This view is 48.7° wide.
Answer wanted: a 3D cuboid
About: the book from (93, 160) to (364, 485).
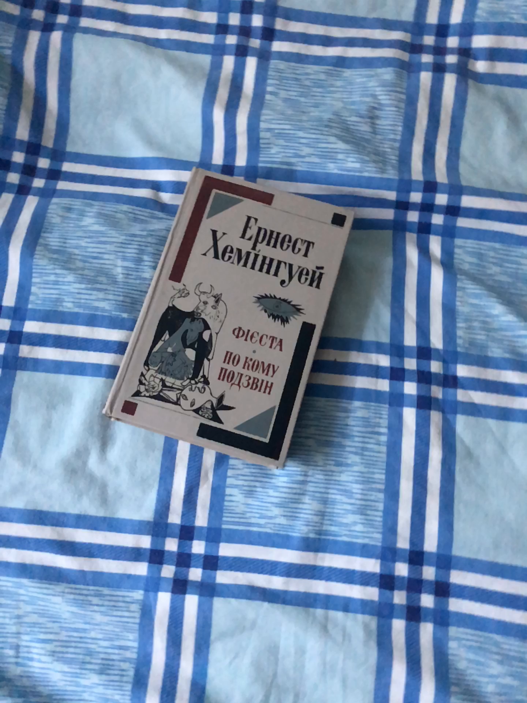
[{"bbox_3d":[-0.021,-0.026,0.453,0.142,0.040,0.220,16,76,4],"label":"book"}]
